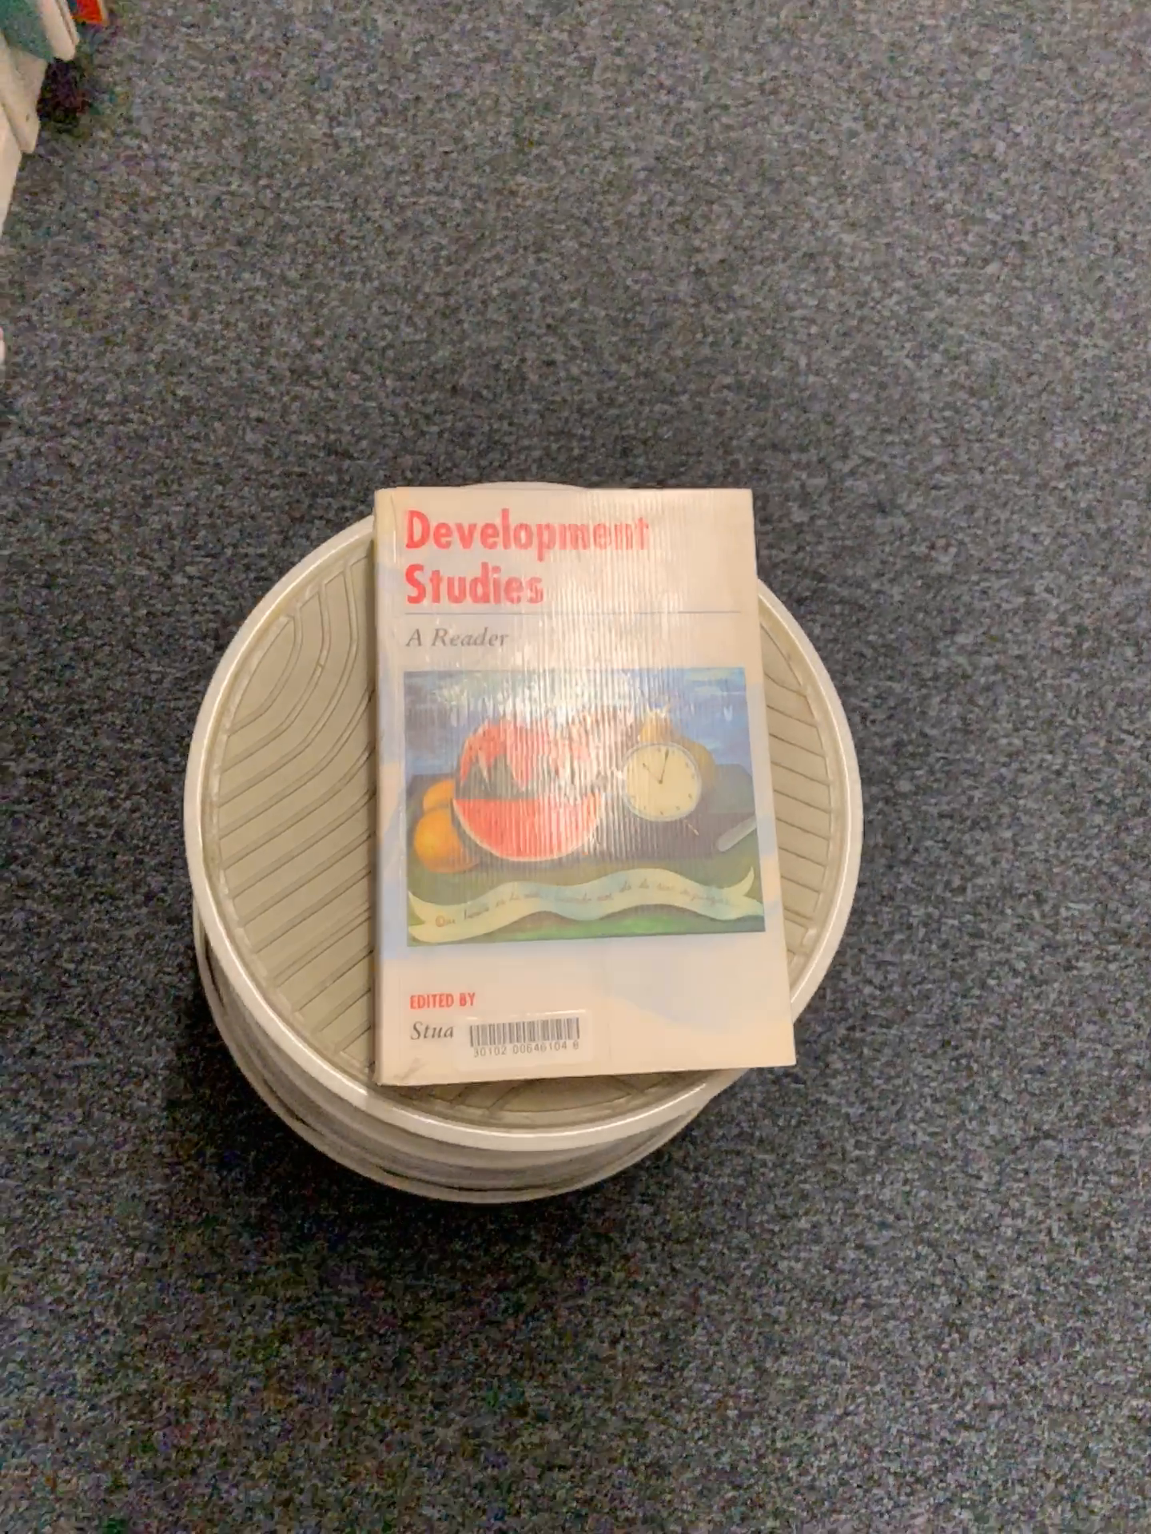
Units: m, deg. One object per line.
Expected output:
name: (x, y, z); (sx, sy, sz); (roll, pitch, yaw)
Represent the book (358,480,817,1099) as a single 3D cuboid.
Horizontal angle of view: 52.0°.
book: (-0.001, 0.005, 0.454); (0.159, 0.046, 0.225); (-1, 79, -8)
